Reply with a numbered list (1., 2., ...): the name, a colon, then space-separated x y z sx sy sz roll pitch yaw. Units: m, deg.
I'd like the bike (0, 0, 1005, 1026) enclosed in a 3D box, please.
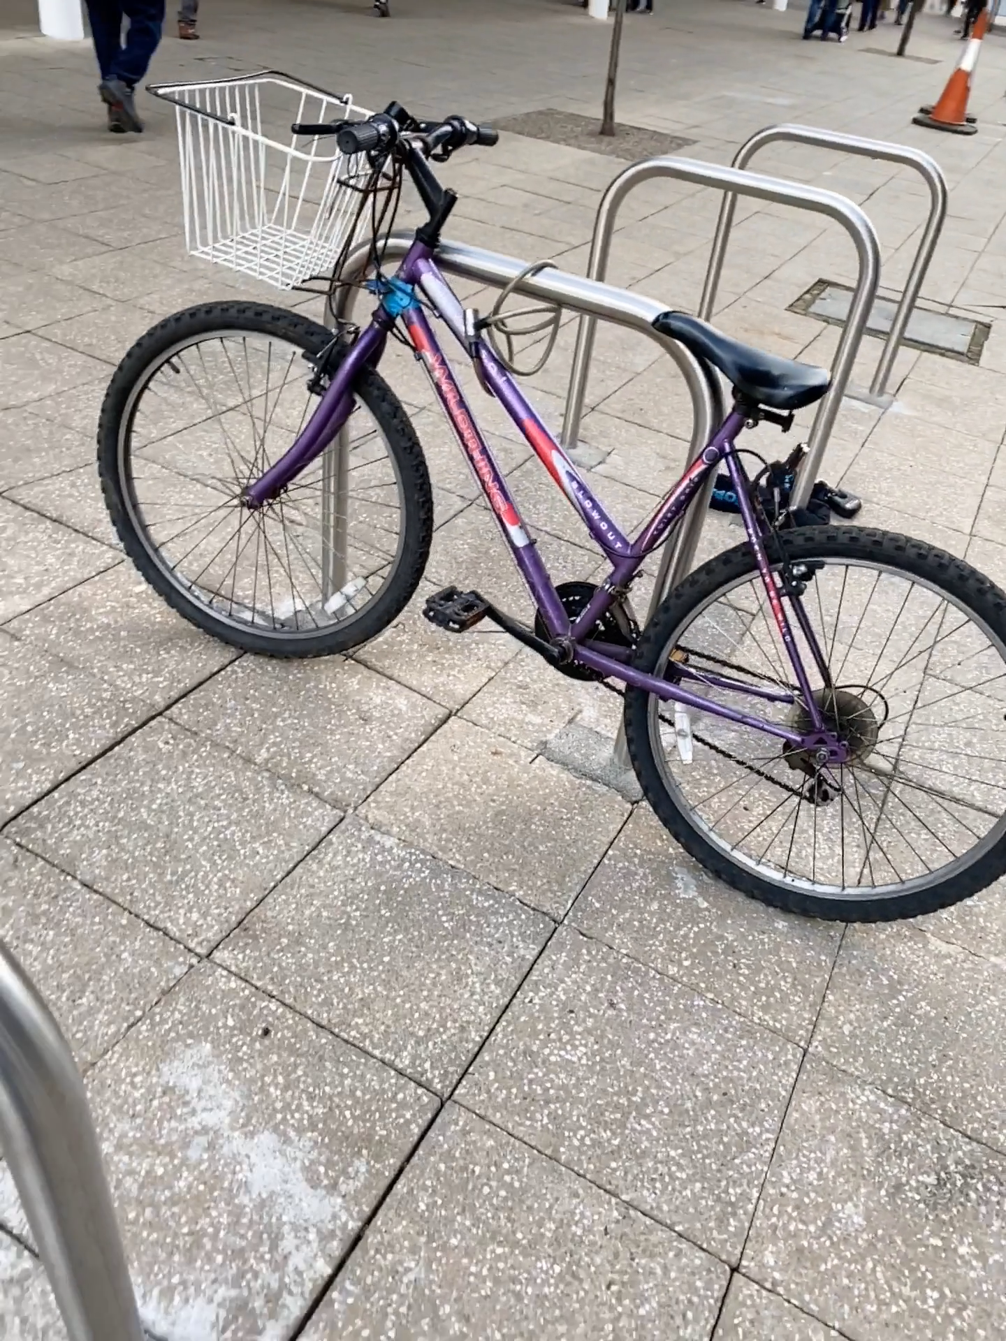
1. bike: 0.099 -0.327 1.693 1.734 1.043 0.584 21 38 14
